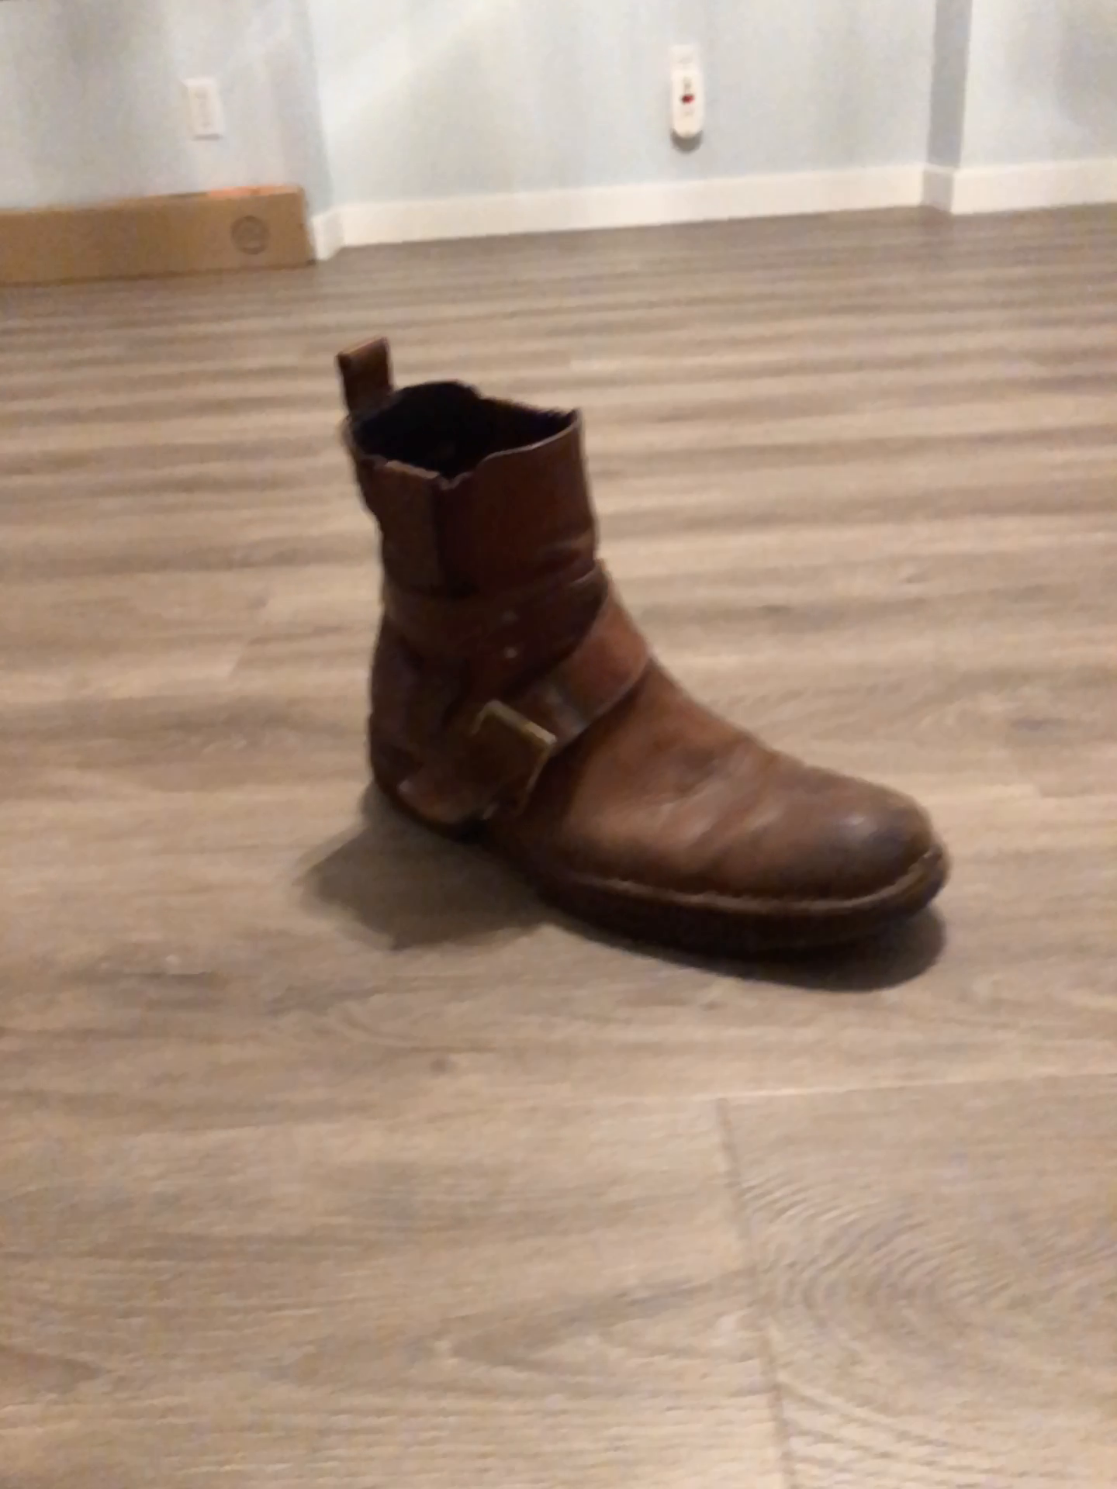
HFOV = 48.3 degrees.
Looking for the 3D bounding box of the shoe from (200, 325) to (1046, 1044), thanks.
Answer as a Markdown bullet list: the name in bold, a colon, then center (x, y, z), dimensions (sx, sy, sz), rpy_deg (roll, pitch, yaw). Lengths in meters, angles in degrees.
- **shoe**: center (0.020, -0.047, 0.509), dimensions (0.290, 0.209, 0.130), rpy_deg (15, 33, 33)
